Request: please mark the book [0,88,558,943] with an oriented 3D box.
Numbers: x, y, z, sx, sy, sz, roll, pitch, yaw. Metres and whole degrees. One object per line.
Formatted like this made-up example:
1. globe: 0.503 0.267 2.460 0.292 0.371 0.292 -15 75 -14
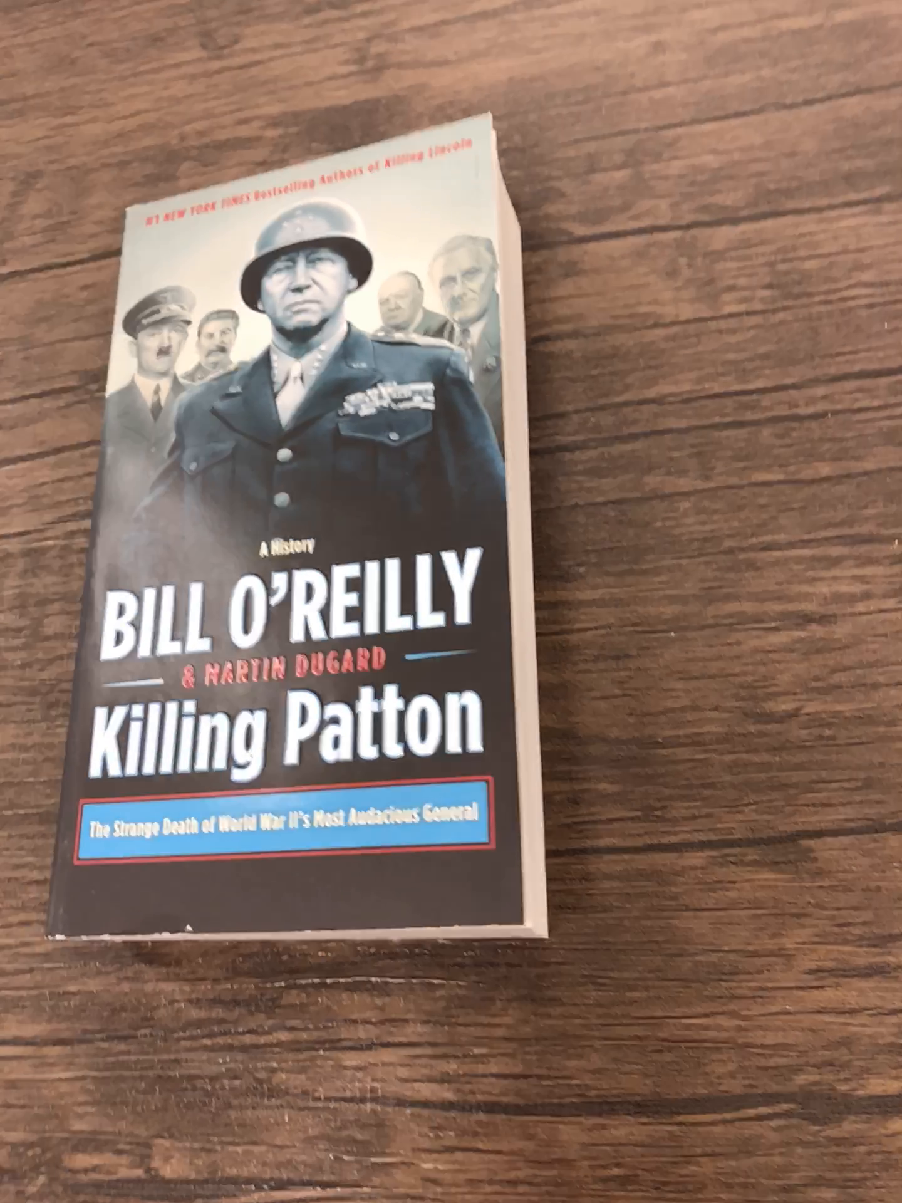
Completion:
1. book: -0.037 -0.019 0.233 0.106 0.040 0.182 -8 70 17
